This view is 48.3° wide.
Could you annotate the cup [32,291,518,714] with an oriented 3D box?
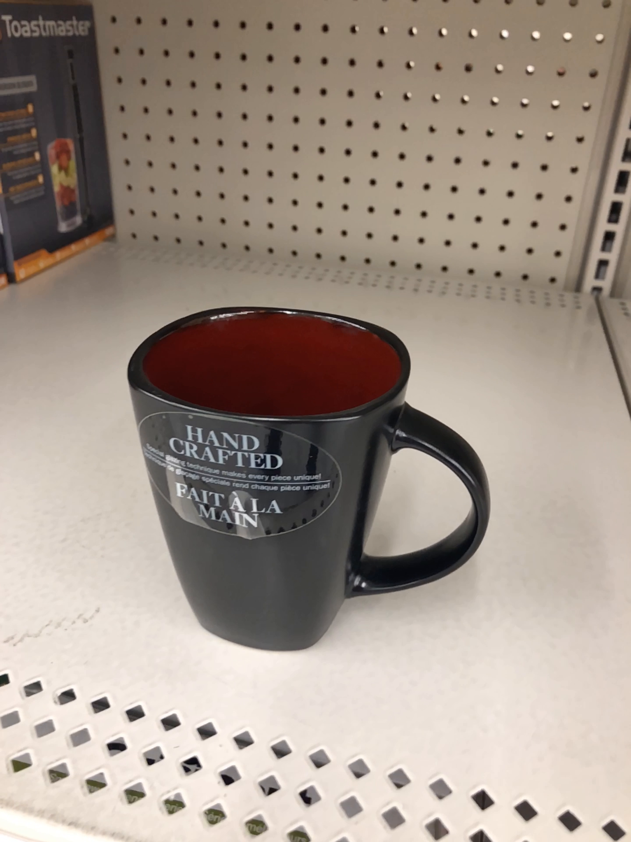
[{"bbox_3d":[-0.006,0.021,0.265,0.143,0.099,0.100,8,29,10],"label":"cup"}]
